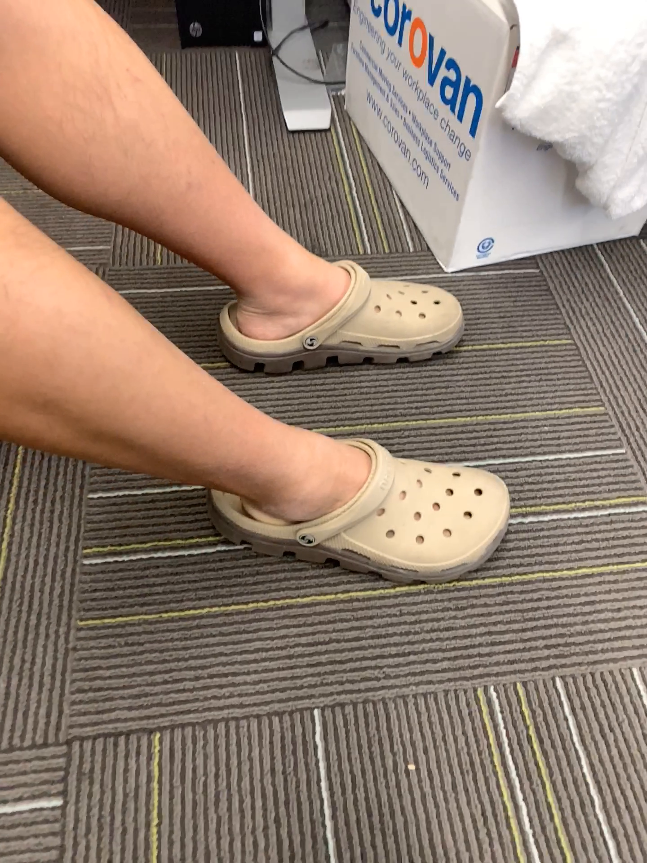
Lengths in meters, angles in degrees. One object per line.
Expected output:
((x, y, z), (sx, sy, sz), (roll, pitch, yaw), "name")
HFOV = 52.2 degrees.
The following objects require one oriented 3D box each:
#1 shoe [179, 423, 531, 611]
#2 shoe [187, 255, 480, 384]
((0.033, 0.085, 0.670), (0.320, 0.080, 0.135), (6, 54, 2), "shoe")
((0.008, -0.140, 0.817), (0.330, 0.079, 0.140), (-1, 54, -3), "shoe")
